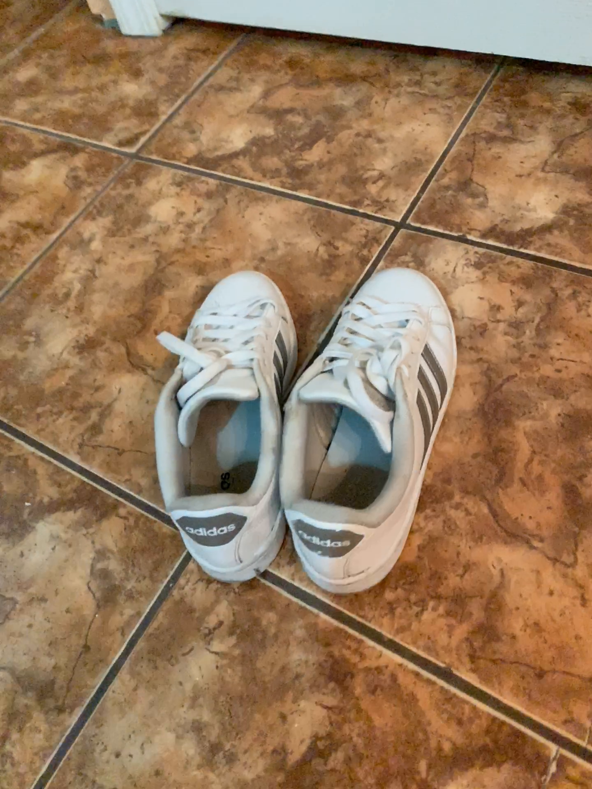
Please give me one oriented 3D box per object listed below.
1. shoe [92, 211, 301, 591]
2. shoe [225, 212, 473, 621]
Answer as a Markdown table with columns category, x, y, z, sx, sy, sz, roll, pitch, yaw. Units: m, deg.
| category | x | y | z | sx | sy | sz | roll | pitch | yaw |
| --- | --- | --- | --- | --- | --- | --- | --- | --- | --- |
| shoe | -0.059 | -0.002 | 0.449 | 0.101 | 0.104 | 0.257 | -7 | 56 | 8 |
| shoe | 0.052 | 0.003 | 0.420 | 0.101 | 0.104 | 0.257 | 8 | 59 | 17 |
